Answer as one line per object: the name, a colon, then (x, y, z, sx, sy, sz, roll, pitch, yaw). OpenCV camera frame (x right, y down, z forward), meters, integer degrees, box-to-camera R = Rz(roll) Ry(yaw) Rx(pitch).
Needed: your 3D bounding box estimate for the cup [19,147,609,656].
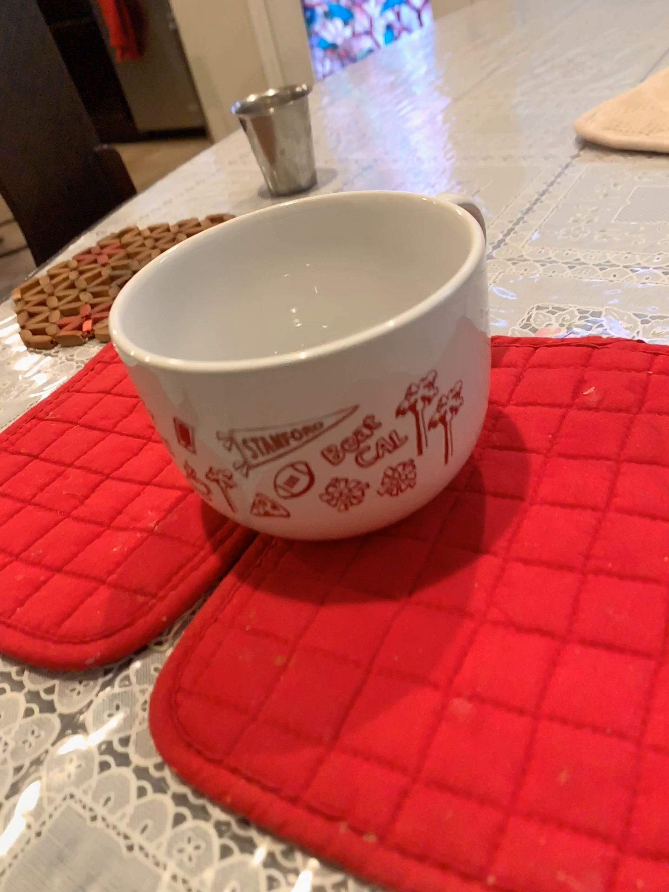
cup: (0.001, -0.033, 0.234, 0.121, 0.079, 0.141, 23, 52, 39)
